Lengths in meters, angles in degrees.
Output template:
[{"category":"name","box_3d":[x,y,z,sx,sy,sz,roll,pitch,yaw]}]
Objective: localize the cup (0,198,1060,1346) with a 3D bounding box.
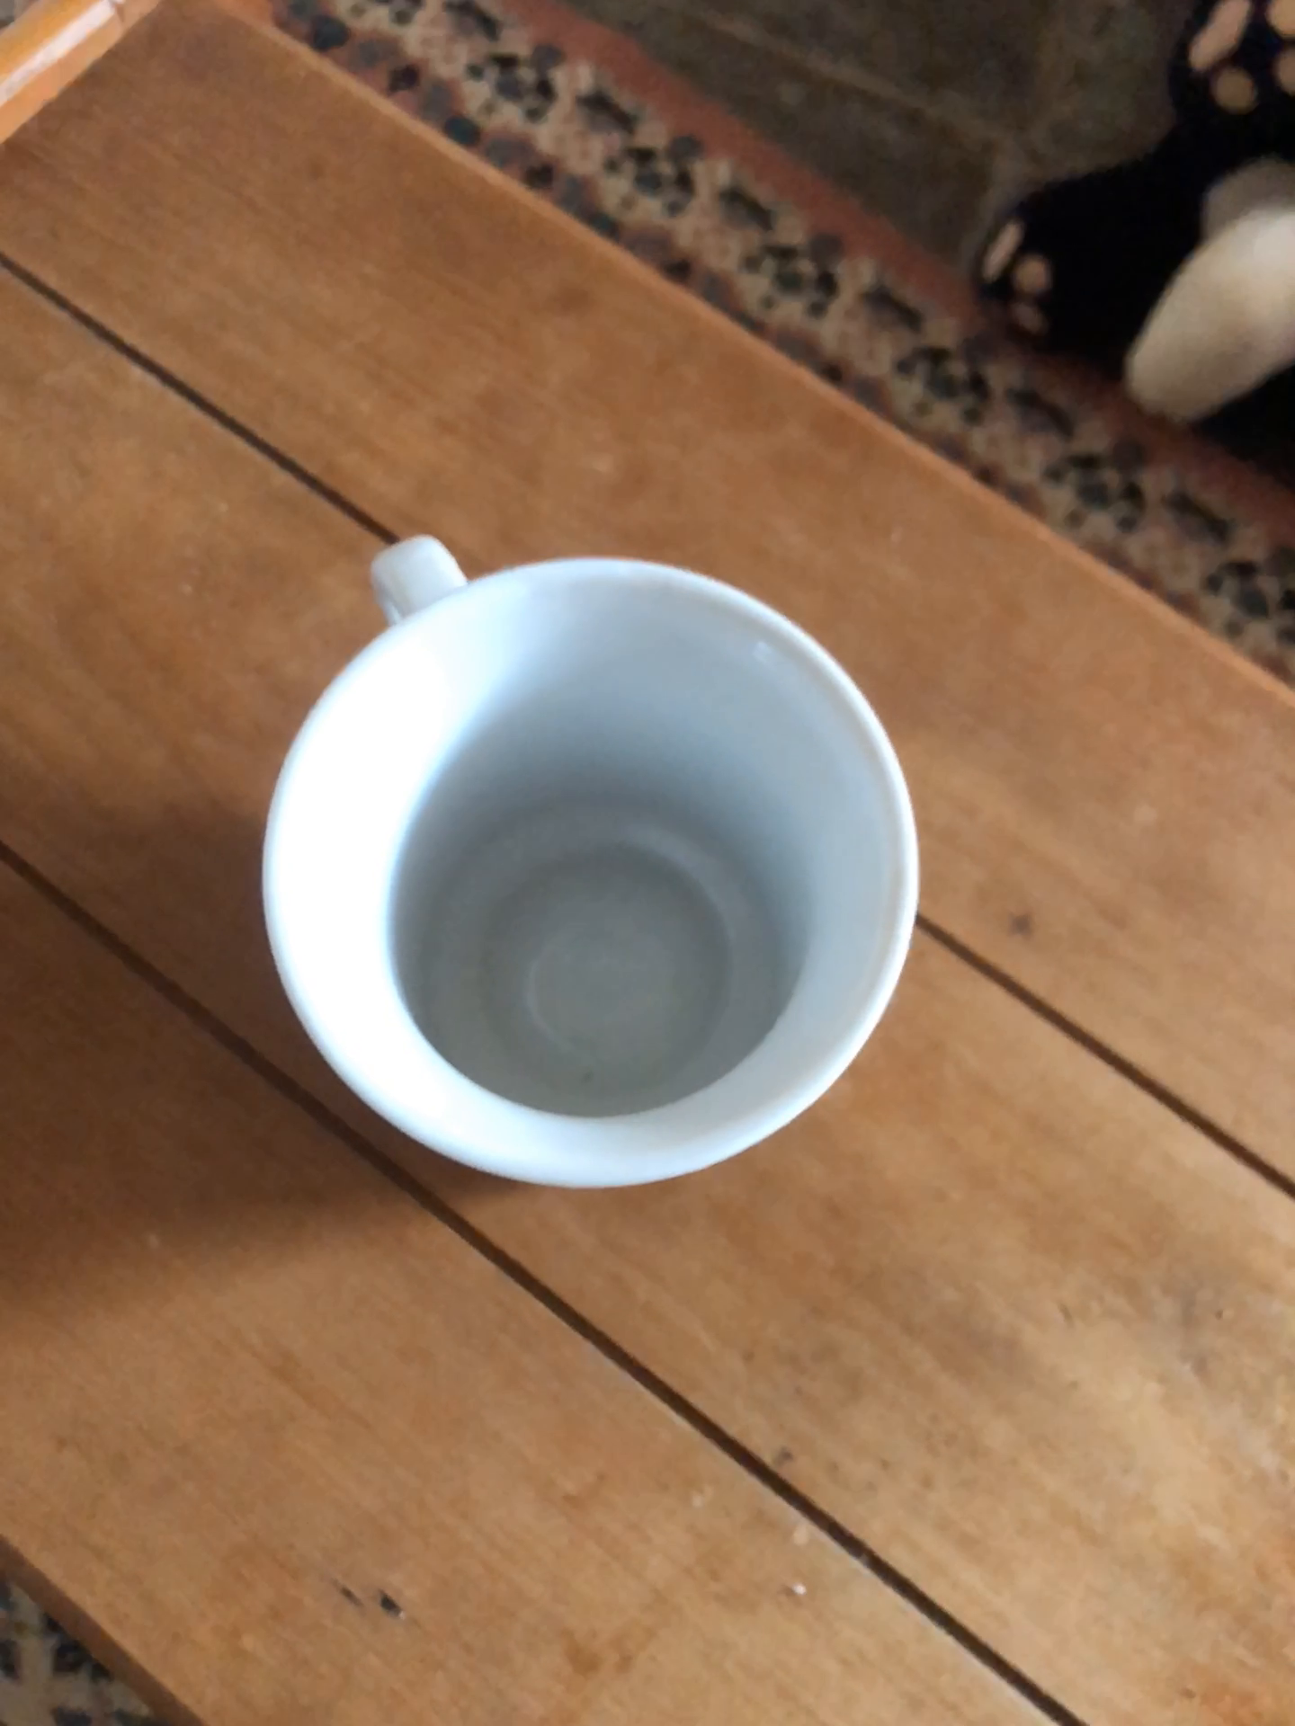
[{"category":"cup","box_3d":[-0.024,-0.010,0.231,0.100,0.080,0.130,-29,76,-10]}]
